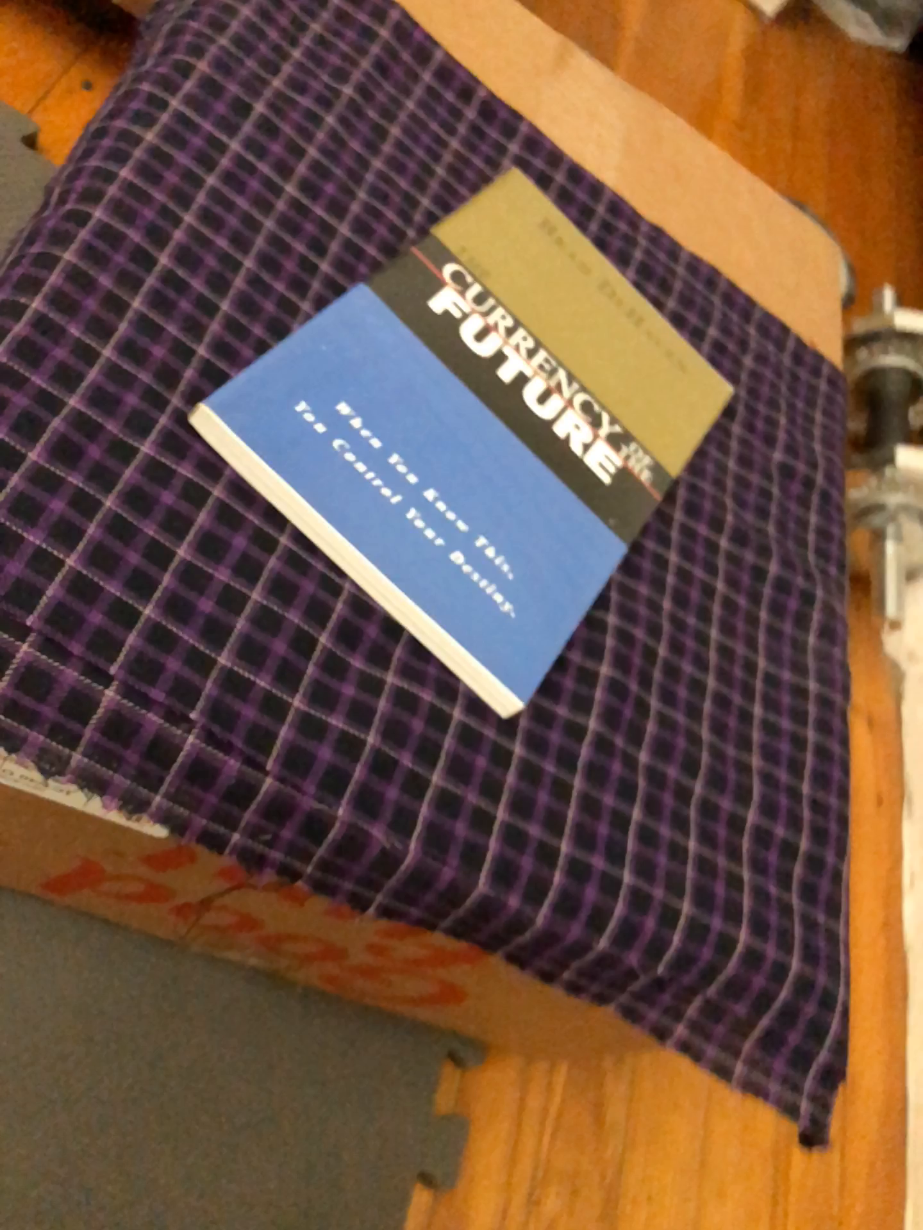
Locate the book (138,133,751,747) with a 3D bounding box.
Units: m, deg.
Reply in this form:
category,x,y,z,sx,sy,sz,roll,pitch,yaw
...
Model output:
category,x,y,z,sx,sy,sz,roll,pitch,yaw
book,0.014,-0.081,0.382,0.150,0.020,0.221,43,51,-6
